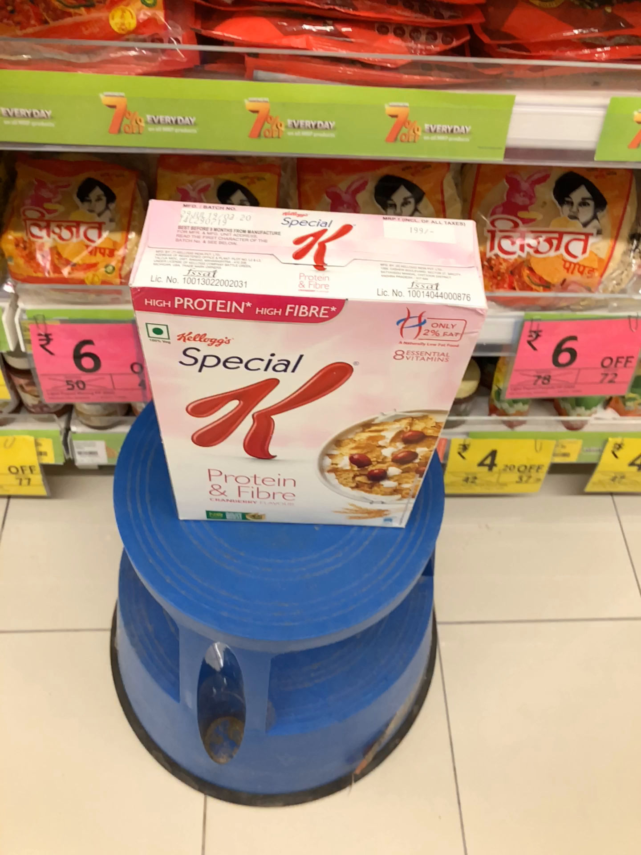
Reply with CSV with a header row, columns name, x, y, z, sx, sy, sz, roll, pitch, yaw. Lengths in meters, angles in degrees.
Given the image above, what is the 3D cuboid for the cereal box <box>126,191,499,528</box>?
name,x,y,z,sx,sy,sz,roll,pitch,yaw
cereal box,-0.009,-0.024,0.465,0.180,0.249,0.070,3,57,-2
